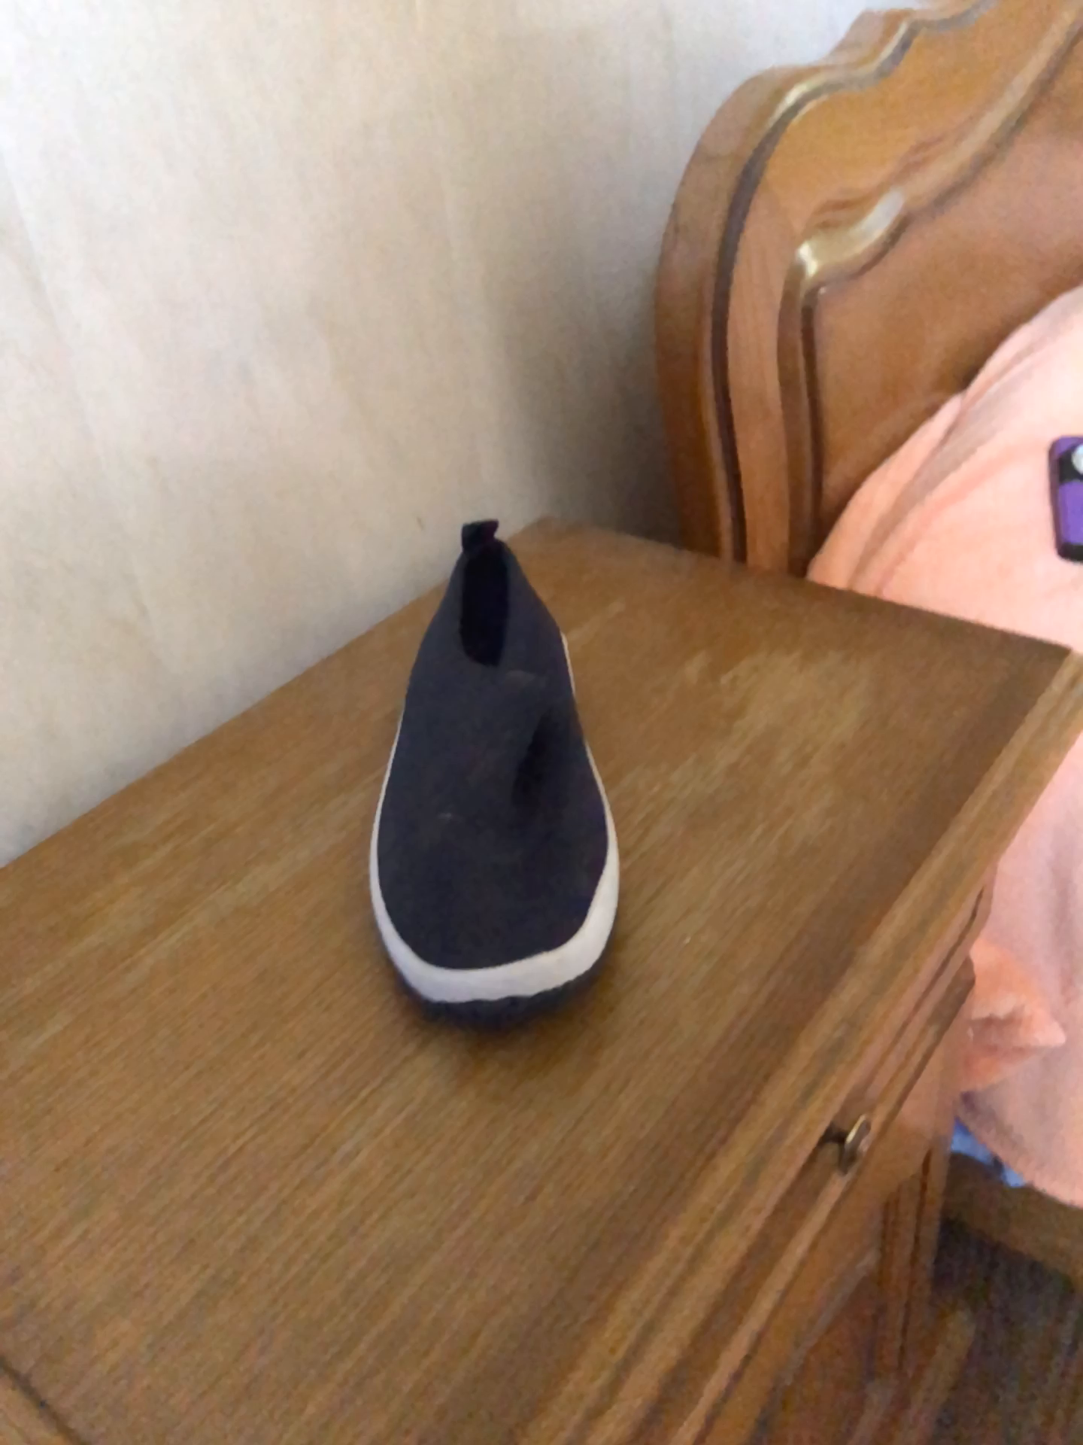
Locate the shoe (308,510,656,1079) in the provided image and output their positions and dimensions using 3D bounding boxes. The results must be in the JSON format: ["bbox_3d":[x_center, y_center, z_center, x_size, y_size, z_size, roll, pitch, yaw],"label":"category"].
[{"bbox_3d":[-0.024,0.008,0.485,0.100,0.080,0.262,-7,33,0],"label":"shoe"}]
